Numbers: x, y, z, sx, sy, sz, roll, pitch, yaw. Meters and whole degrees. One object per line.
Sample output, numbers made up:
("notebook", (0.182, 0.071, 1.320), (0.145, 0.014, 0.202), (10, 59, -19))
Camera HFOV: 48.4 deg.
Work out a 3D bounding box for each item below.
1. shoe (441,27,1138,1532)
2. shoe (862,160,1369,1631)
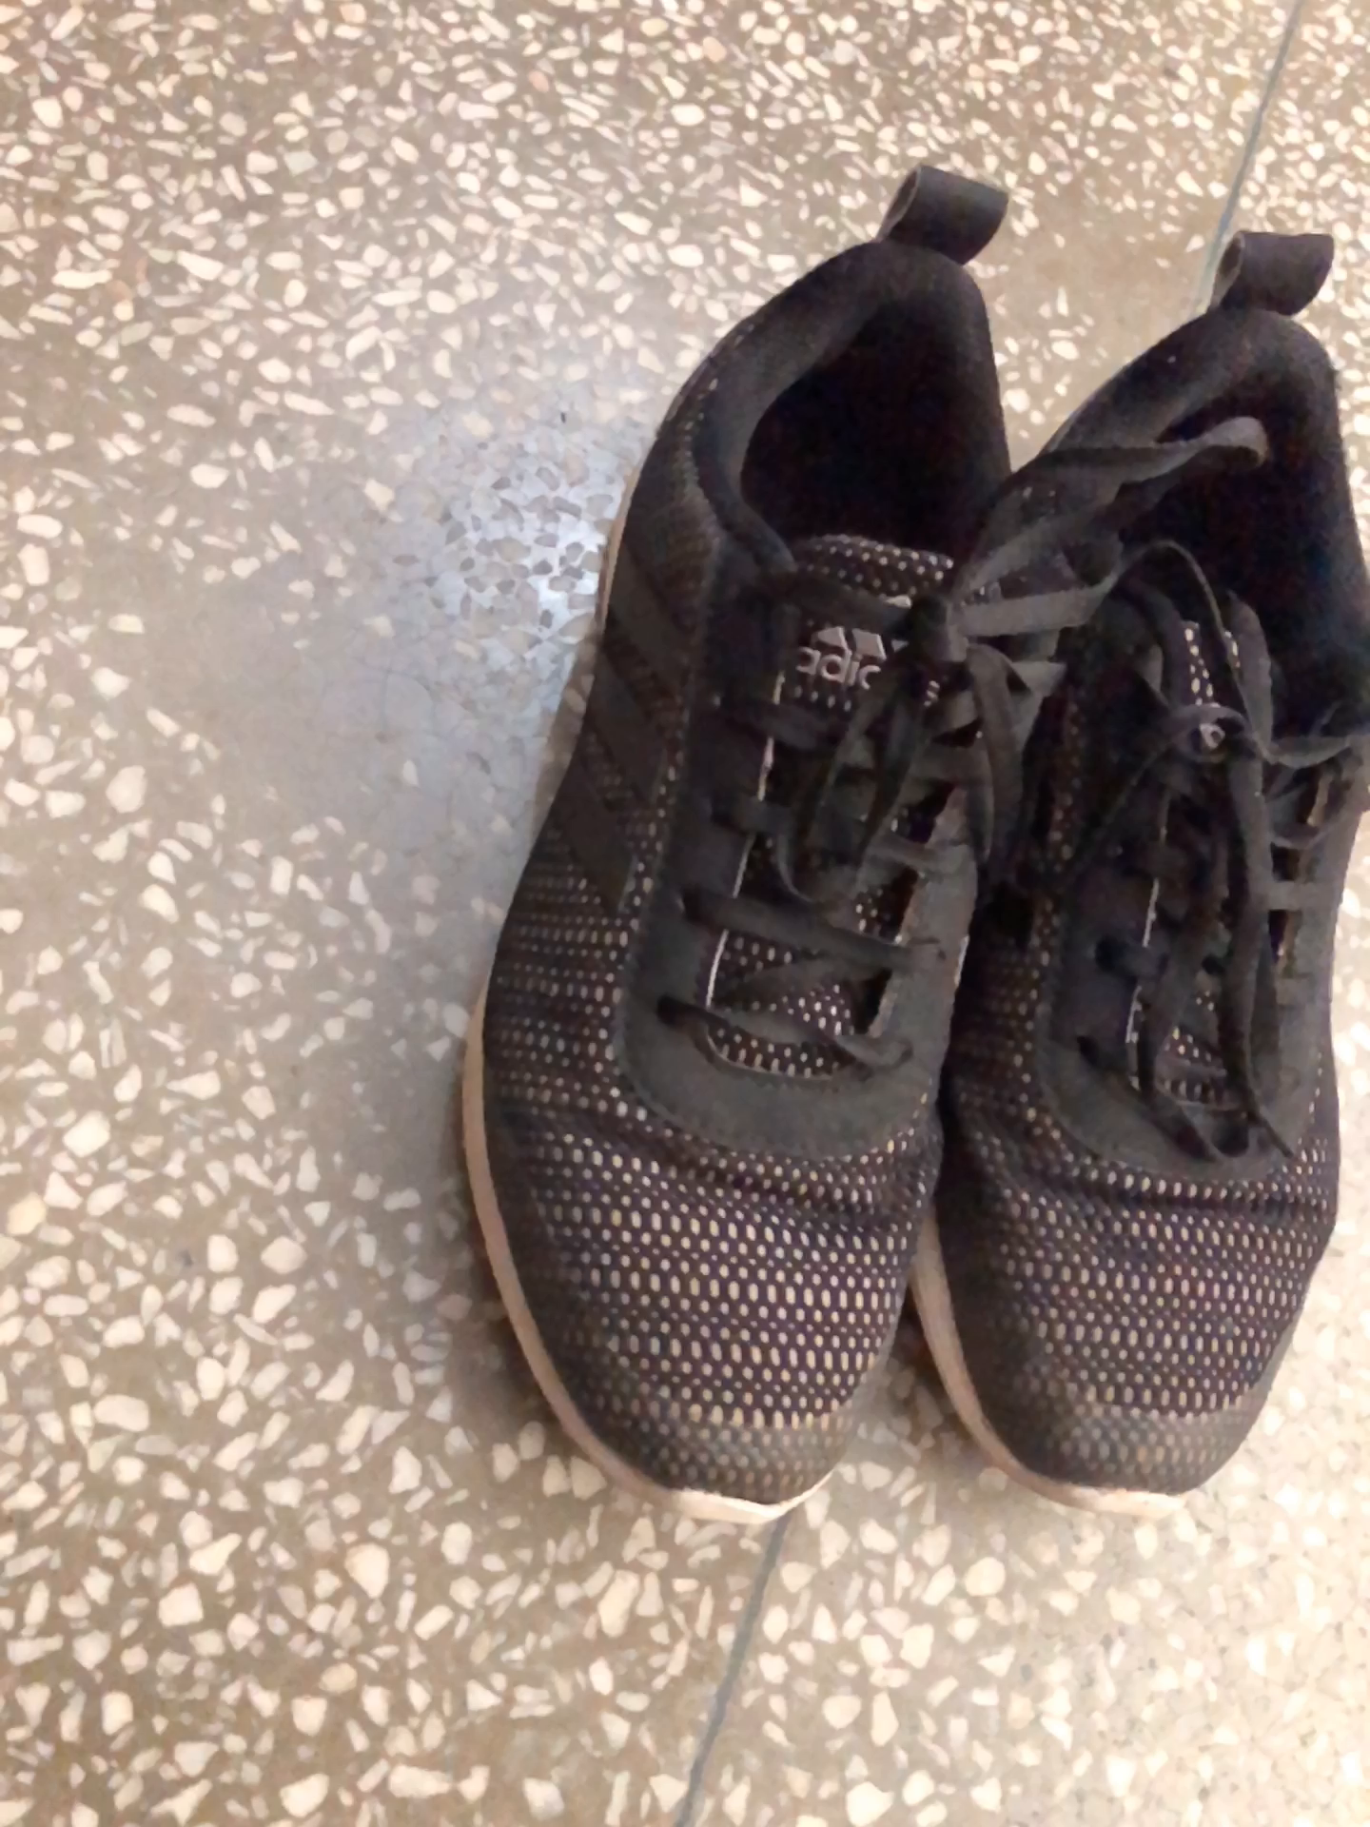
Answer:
("shoe", (0.025, -0.030, 0.313), (0.100, 0.080, 0.280), (10, 69, -13))
("shoe", (0.110, -0.009, 0.317), (0.100, 0.080, 0.270), (12, 69, -12))
